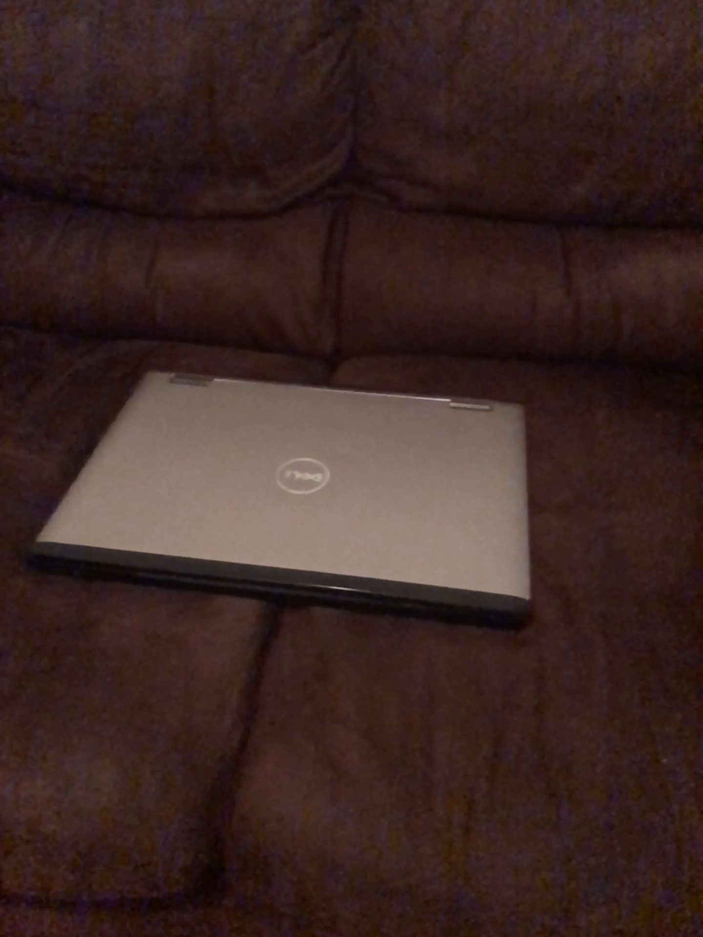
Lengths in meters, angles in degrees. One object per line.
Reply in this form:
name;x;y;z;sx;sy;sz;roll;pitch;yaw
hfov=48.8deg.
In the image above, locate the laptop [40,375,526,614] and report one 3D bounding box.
laptop;-0.039;0.004;0.679;0.369;0.002;0.262;6;39;6
